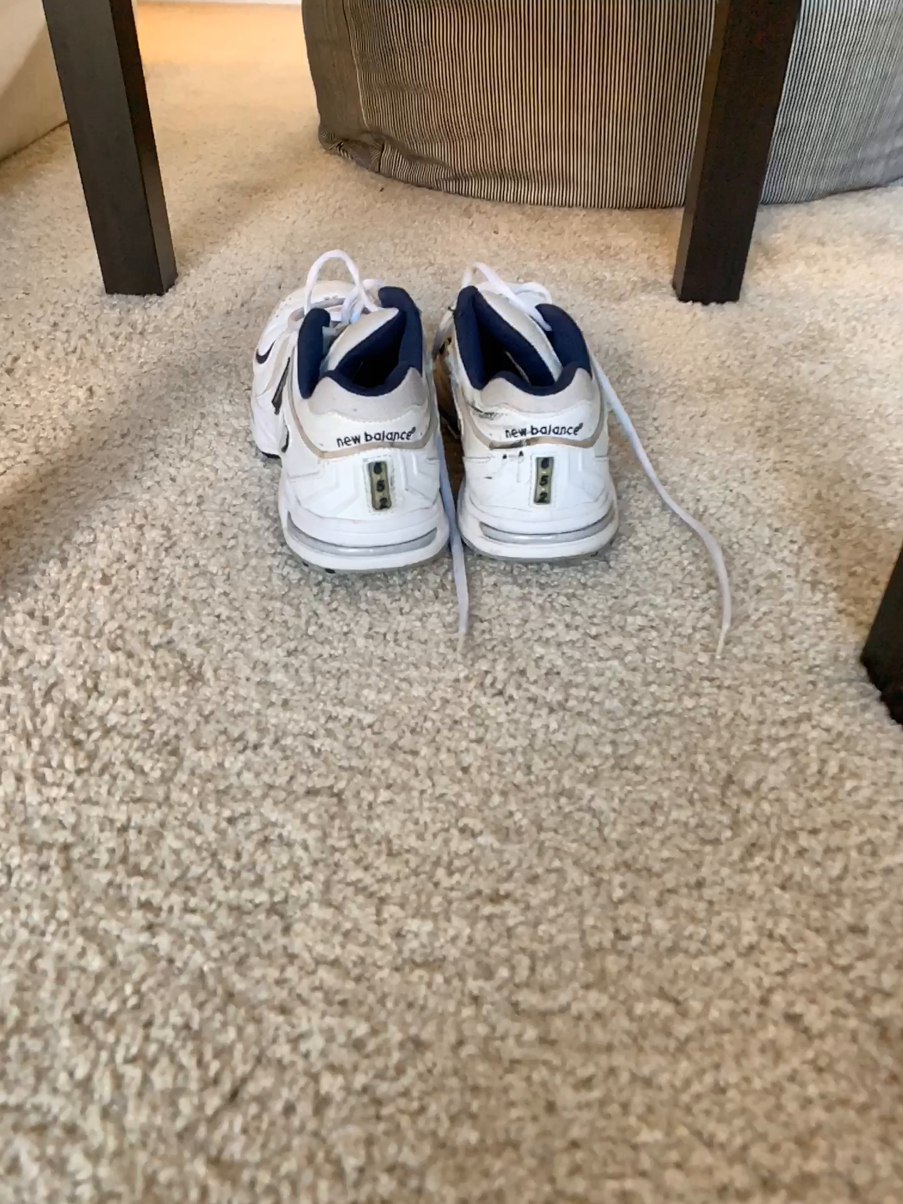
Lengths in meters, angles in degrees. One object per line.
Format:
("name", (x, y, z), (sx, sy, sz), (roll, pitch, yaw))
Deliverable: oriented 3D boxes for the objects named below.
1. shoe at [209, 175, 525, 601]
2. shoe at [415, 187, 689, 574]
("shoe", (-0.062, -0.139, 0.509), (0.110, 0.099, 0.302), (-9, 40, -12))
("shoe", (0.037, -0.148, 0.541), (0.110, 0.099, 0.302), (-1, 39, -3))
